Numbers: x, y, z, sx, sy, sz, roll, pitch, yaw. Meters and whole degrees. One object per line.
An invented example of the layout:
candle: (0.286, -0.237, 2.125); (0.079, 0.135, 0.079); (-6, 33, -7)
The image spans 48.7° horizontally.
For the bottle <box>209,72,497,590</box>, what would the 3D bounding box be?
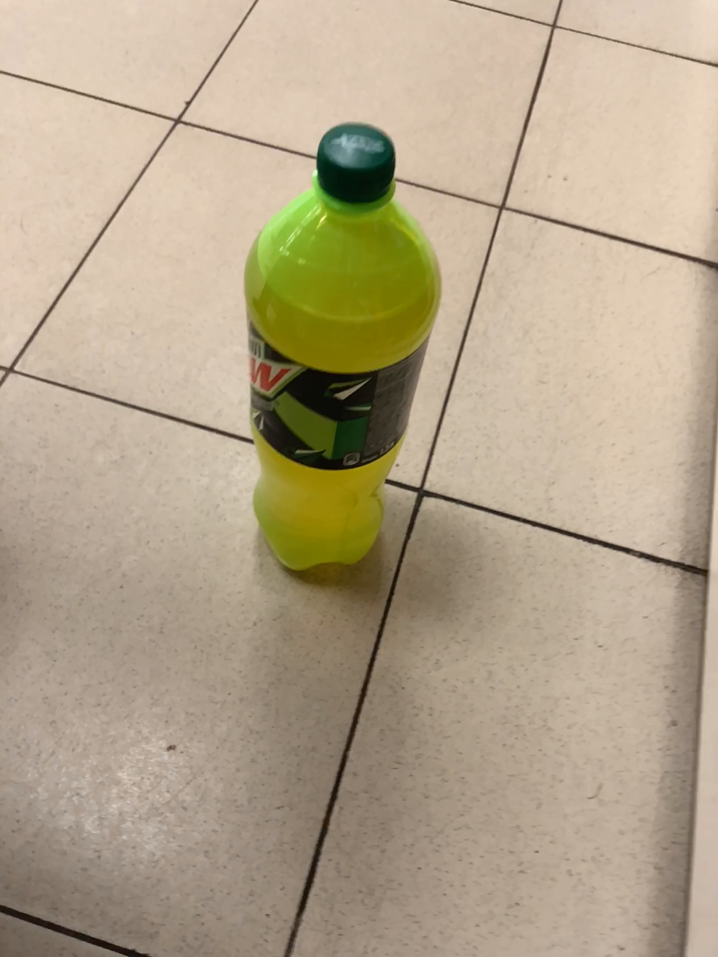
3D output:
bottle: (-0.012, -0.047, 0.433); (0.100, 0.294, 0.095); (3, 60, -5)
